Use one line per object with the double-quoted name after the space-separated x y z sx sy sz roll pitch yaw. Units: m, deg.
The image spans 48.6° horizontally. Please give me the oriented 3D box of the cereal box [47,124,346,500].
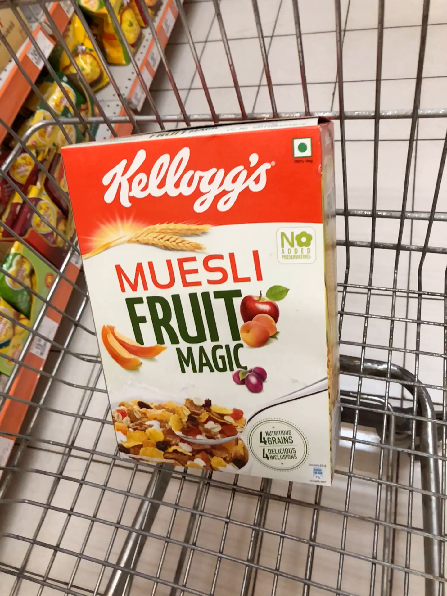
-0.007 0.011 0.397 0.200 0.269 0.080 1 19 16 "cereal box"
